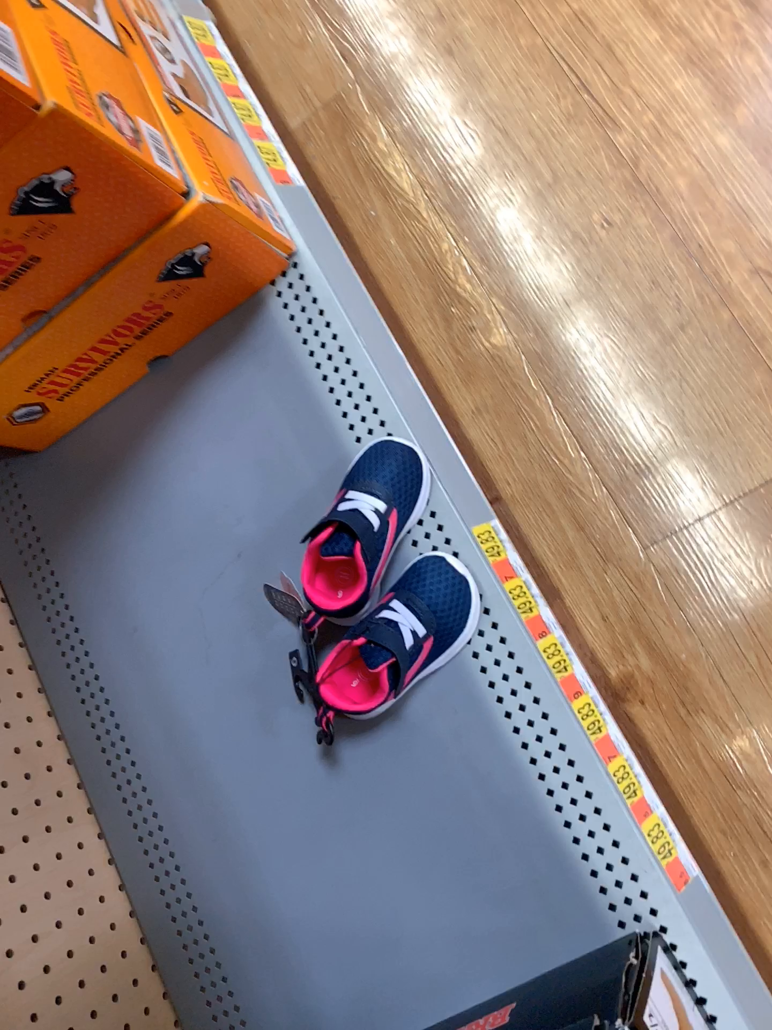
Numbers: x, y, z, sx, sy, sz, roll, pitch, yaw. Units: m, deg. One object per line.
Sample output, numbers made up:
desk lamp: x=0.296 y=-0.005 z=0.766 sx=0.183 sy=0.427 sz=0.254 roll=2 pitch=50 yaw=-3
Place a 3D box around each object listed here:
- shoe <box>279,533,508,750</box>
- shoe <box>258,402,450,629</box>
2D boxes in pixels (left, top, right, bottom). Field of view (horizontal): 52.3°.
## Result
shoe: x=0.006 y=0.090 z=0.578 sx=0.145 sy=0.064 sz=0.073 roll=-46 pitch=73 yaw=14
shoe: x=-0.023 y=0.001 z=0.594 sx=0.073 sy=0.064 sz=0.145 roll=27 pitch=97 yaw=20
